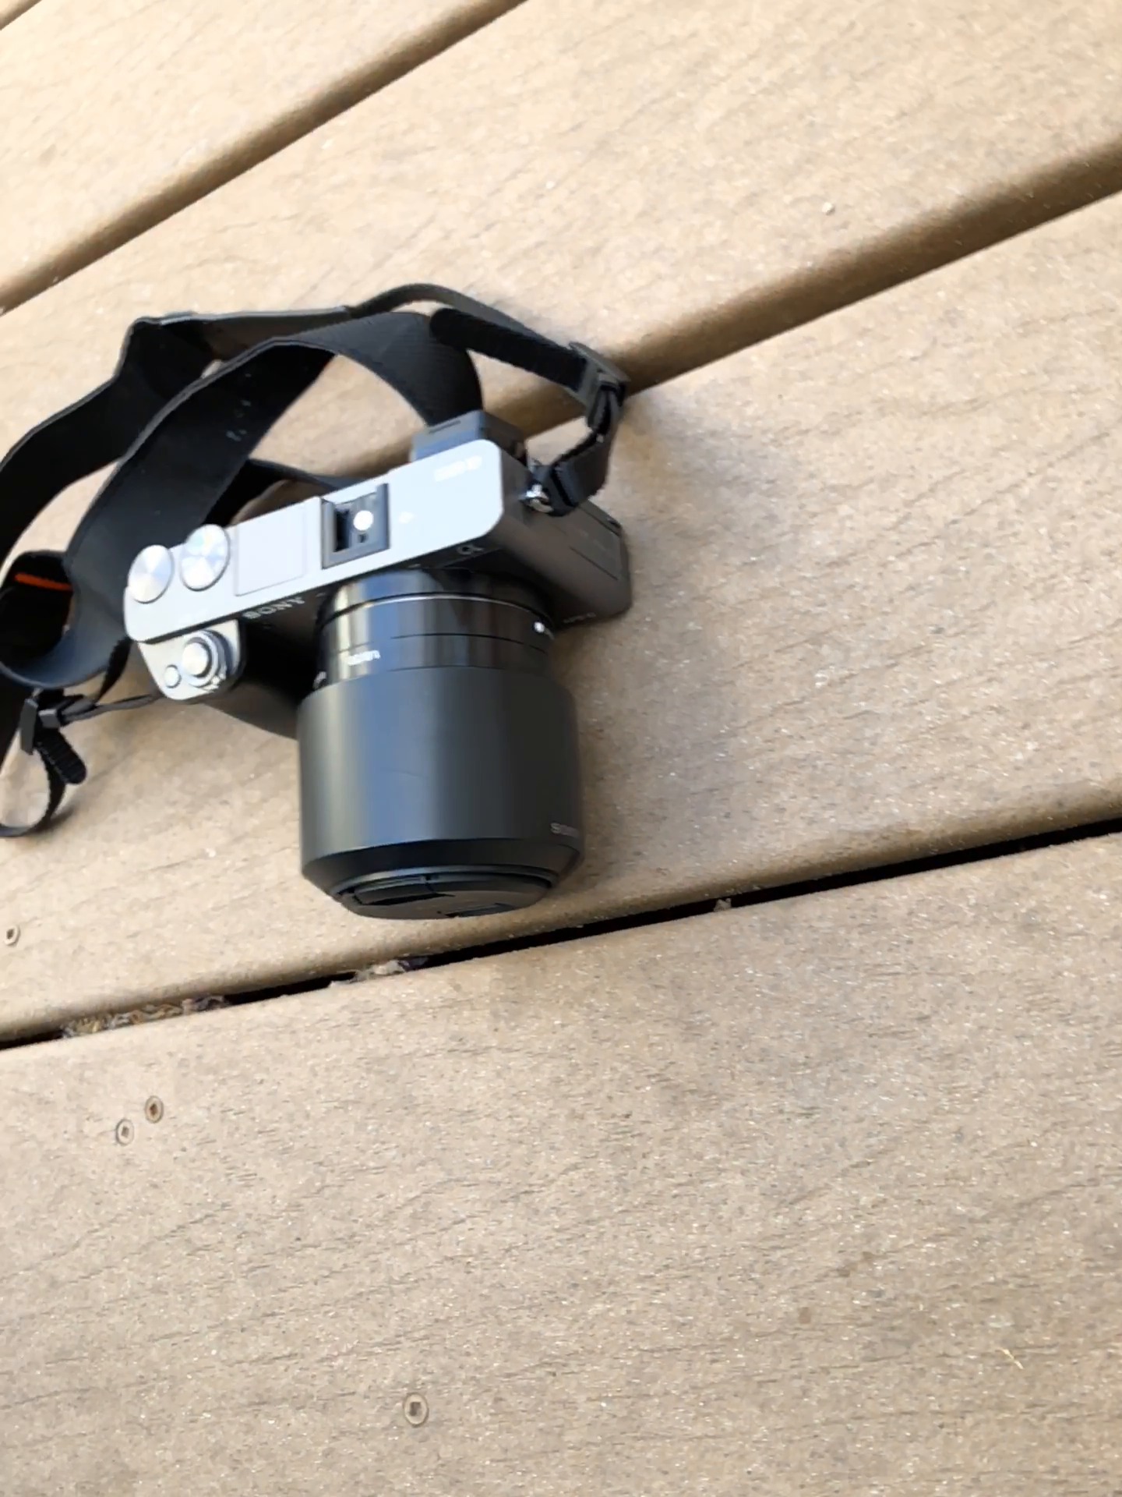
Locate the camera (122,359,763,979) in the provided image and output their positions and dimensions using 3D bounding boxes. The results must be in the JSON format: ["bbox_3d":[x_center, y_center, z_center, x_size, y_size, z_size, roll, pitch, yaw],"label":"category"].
[{"bbox_3d":[-0.031,-0.008,0.301,0.130,0.070,0.110,-12,72,27],"label":"camera"}]
